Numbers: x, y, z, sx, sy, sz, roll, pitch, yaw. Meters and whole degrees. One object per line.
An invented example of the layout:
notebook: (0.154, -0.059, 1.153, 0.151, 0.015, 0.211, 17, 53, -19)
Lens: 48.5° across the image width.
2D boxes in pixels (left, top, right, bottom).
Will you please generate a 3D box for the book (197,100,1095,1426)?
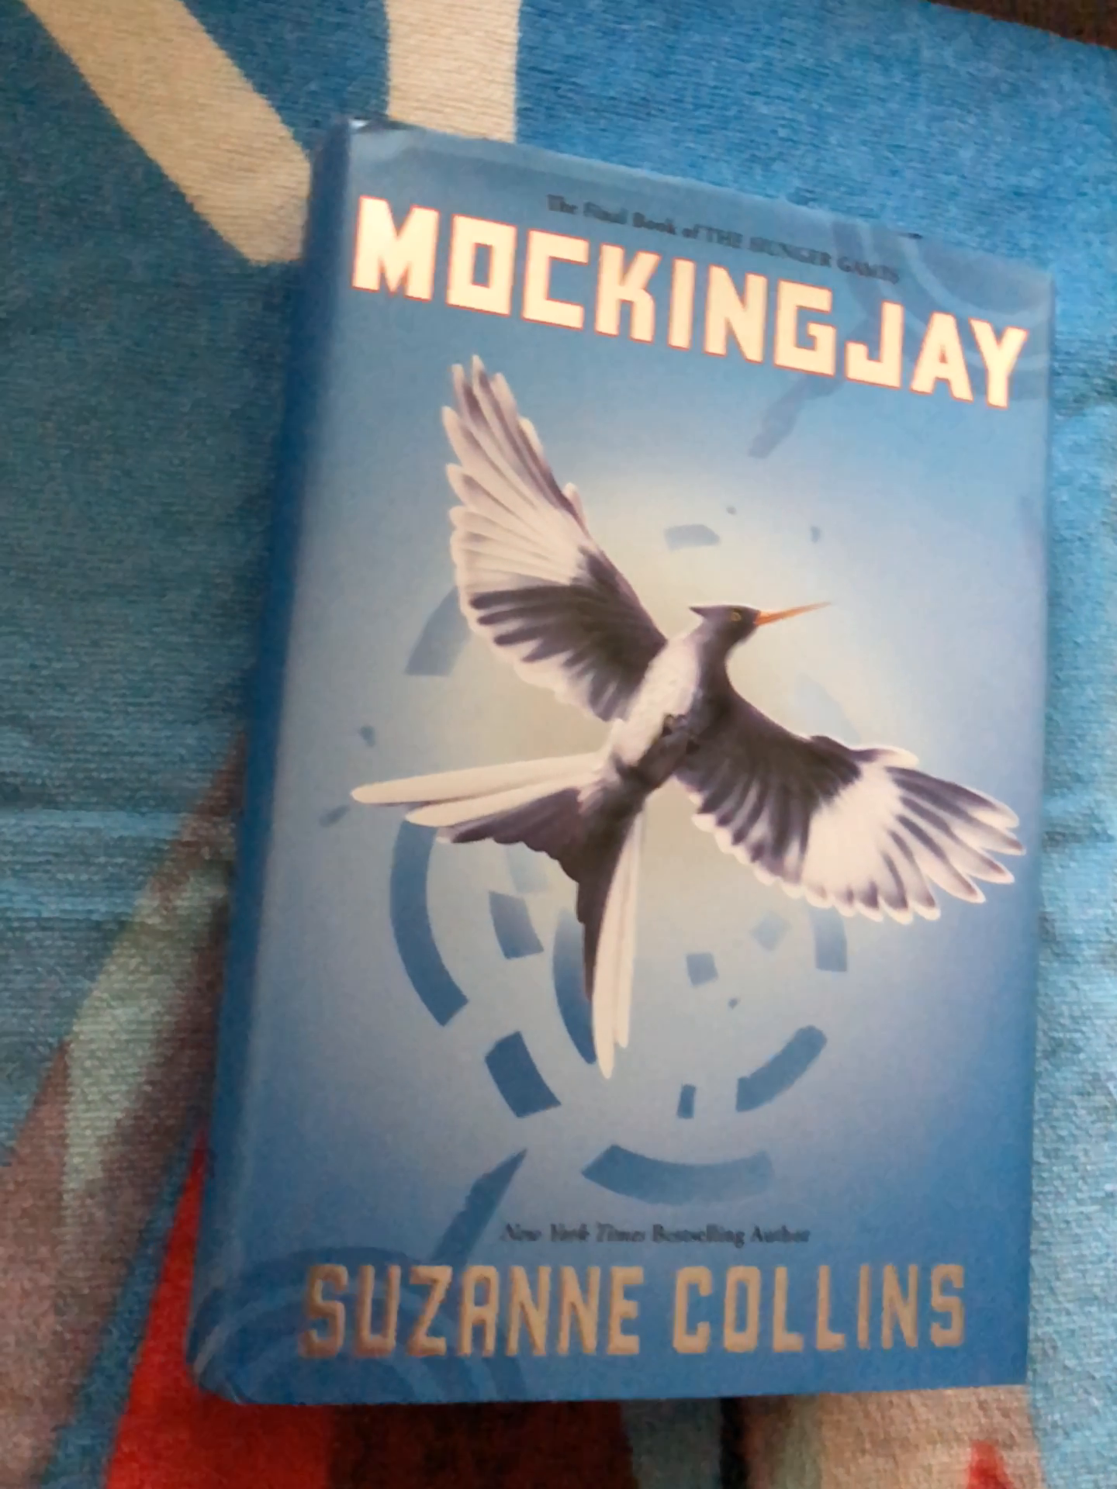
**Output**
book: (0.020, 0.005, 0.221, 0.140, 0.040, 0.200, 6, 83, -13)
